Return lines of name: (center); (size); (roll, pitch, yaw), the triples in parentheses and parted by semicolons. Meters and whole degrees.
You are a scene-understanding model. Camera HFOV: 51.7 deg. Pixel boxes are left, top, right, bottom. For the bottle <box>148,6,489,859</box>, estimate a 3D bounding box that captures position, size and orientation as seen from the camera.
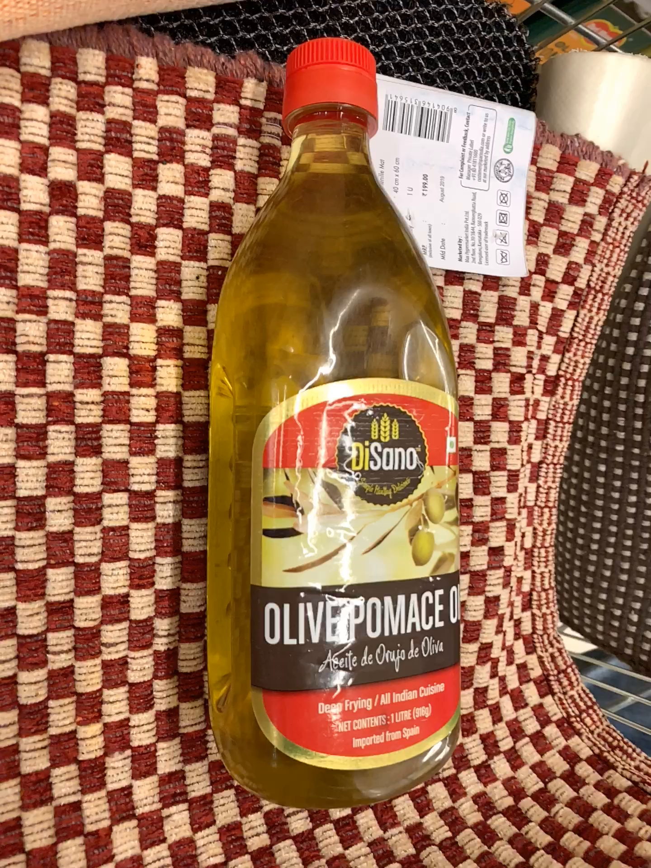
bottle: (-0.005, 0.000, 0.221); (0.080, 0.080, 0.210); (1, 89, -31)
